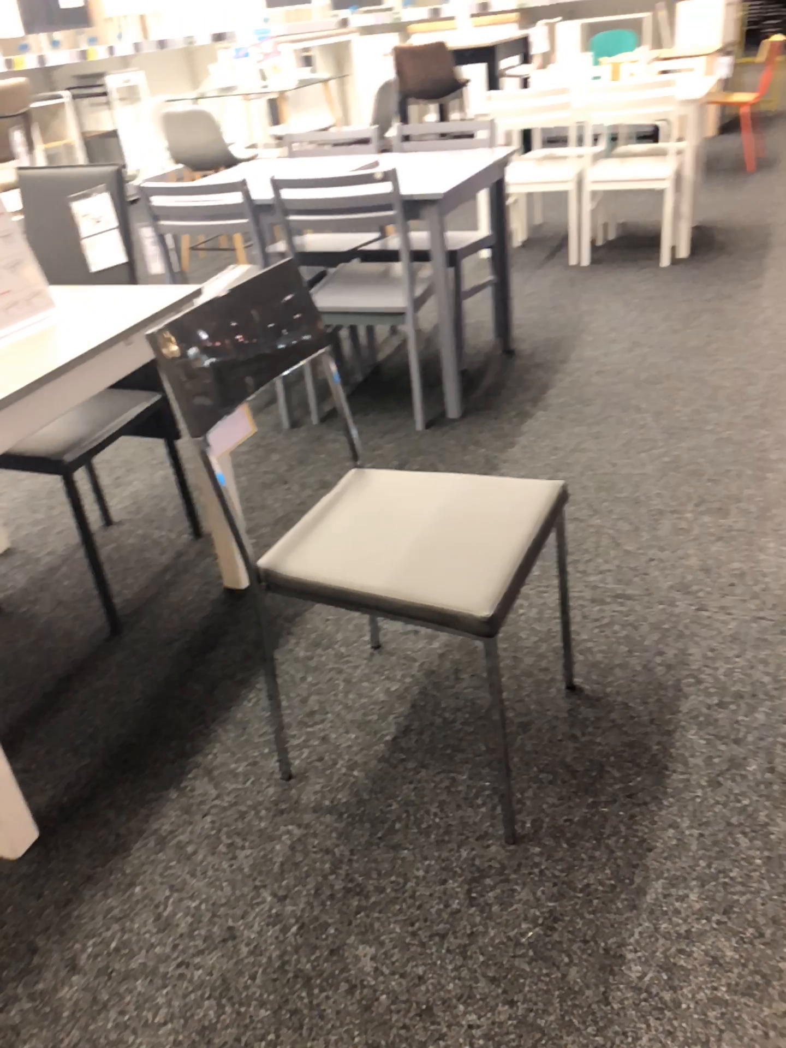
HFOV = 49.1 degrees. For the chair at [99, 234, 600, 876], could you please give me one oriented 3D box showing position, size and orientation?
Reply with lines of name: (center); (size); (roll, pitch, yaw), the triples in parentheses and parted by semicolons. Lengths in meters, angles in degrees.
chair: (0.007, 0.022, 1.424); (0.550, 0.855, 0.493); (7, 33, 23)
